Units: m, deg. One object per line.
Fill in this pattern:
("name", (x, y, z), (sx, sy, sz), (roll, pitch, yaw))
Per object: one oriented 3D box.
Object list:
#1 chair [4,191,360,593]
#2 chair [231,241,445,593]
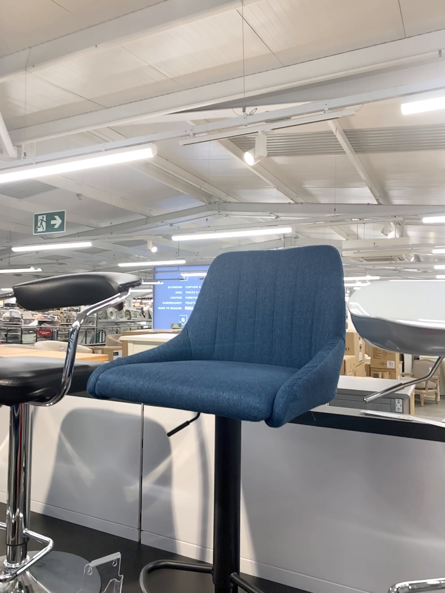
("chair", (-0.034, 0.299, 0.952), (0.539, 0.873, 0.507), (-1, -3, 26))
("chair", (0.286, 0.332, 0.698), (0.409, 0.763, 0.387), (-1, -4, 26))
